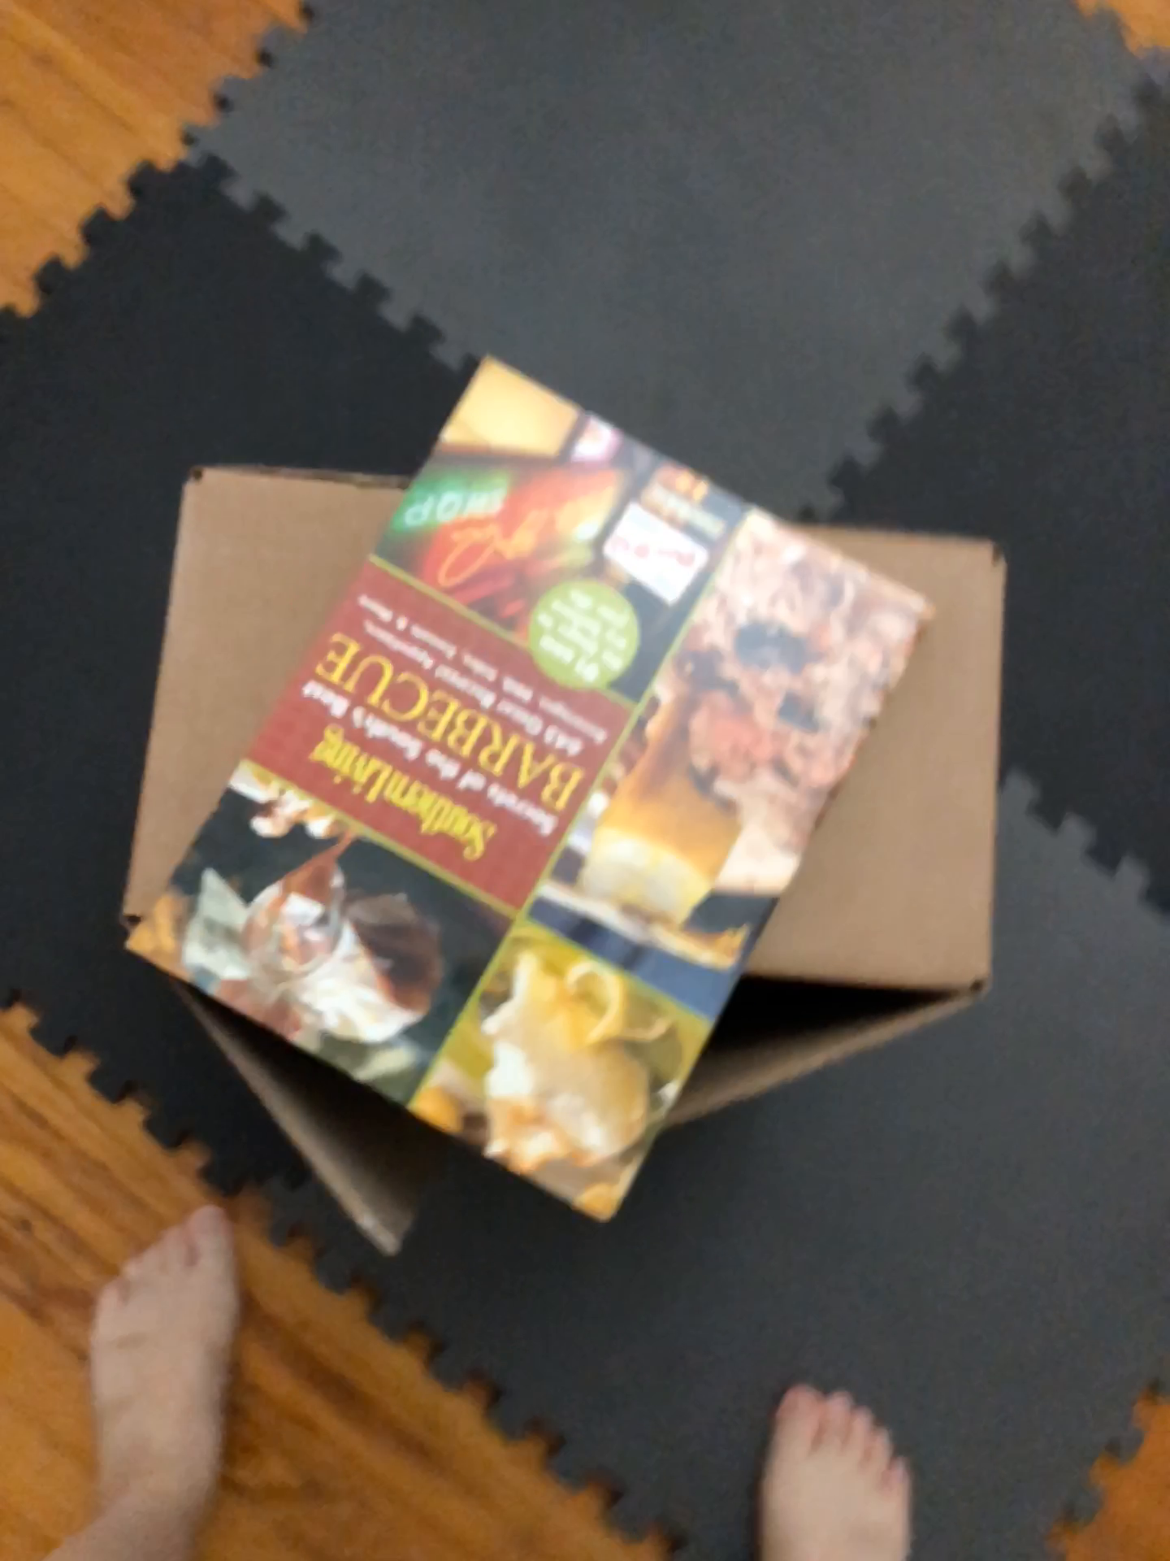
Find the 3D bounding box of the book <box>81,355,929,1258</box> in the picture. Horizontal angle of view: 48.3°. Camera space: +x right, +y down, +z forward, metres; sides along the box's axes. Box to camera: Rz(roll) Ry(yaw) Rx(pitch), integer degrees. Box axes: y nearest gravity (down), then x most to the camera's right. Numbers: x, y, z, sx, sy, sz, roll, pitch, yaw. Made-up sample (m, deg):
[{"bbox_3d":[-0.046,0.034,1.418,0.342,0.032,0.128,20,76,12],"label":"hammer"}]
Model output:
[{"bbox_3d":[-0.026,0.003,0.528,0.220,0.020,0.290,30,81,2],"label":"book"}]
